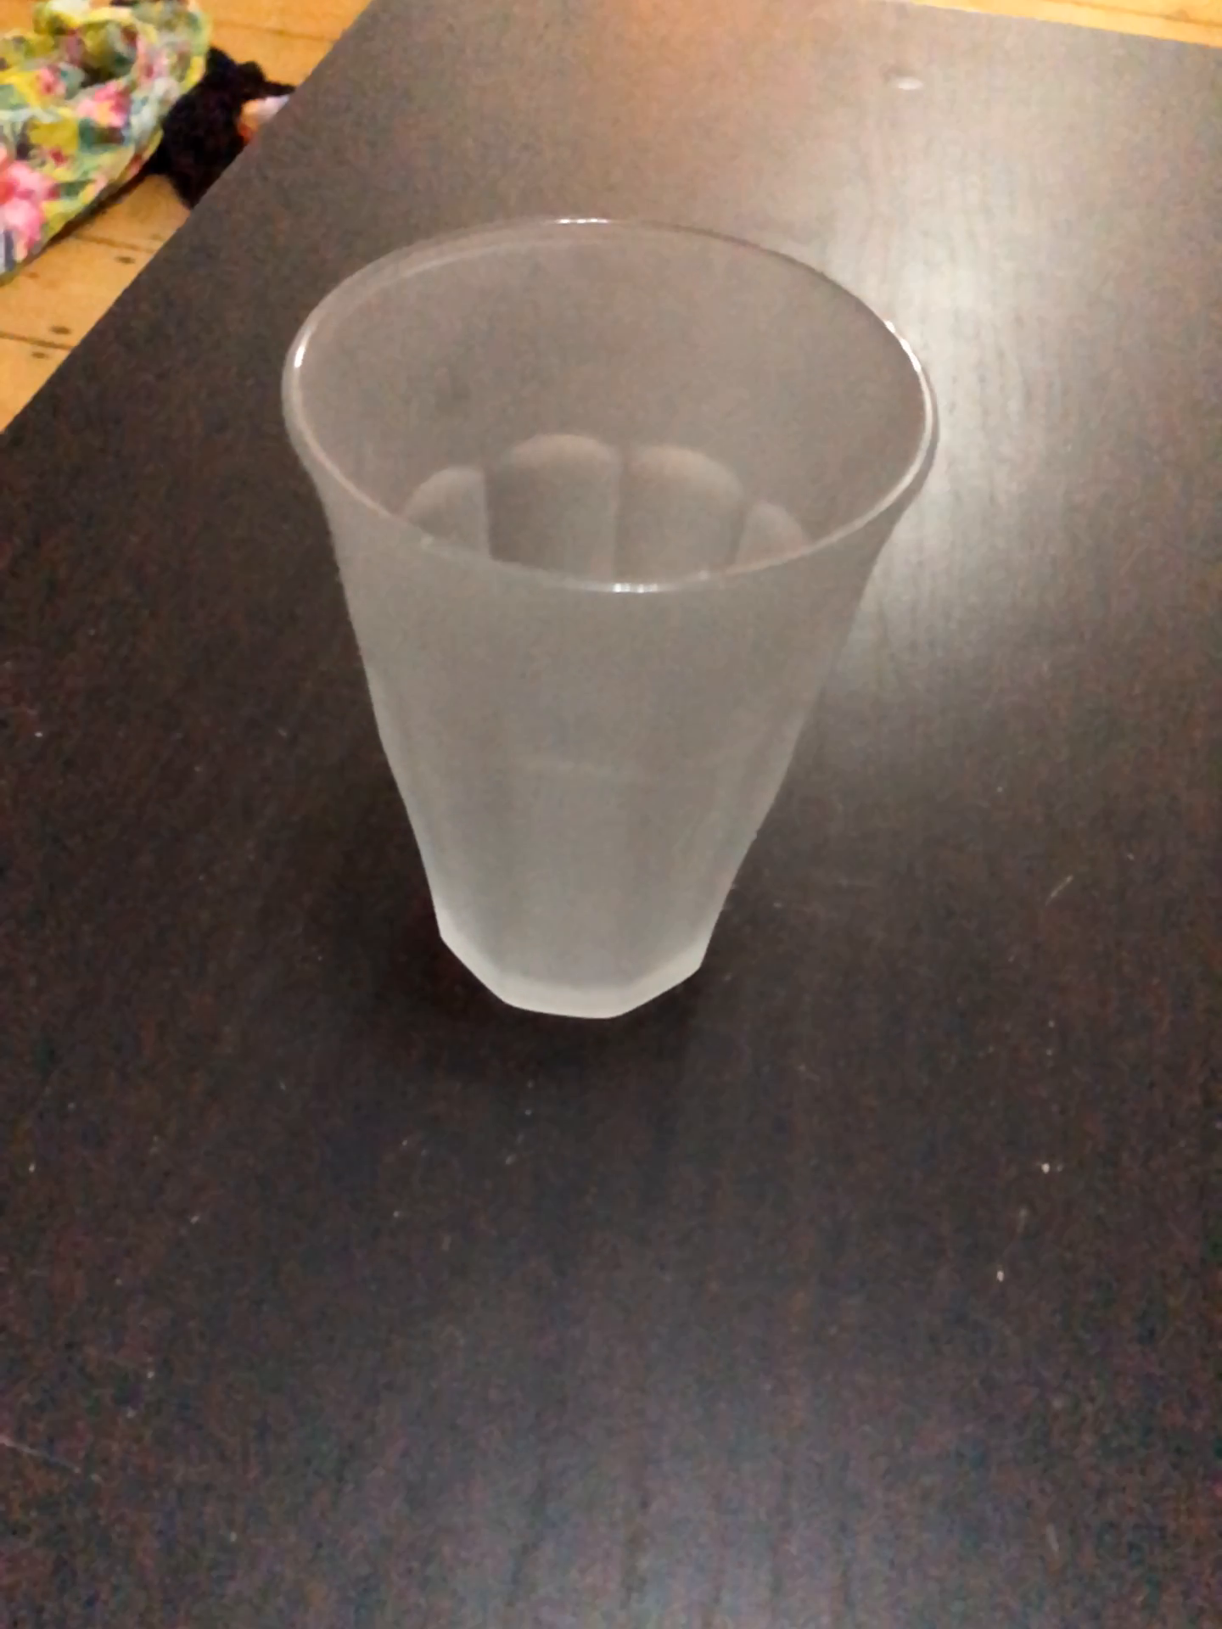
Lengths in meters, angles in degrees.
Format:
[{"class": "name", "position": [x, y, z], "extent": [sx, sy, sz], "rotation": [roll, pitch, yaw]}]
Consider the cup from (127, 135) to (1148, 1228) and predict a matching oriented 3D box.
[{"class": "cup", "position": [-0.002, -0.019, 0.224], "extent": [0.100, 0.129, 0.090], "rotation": [-23, 56, -22]}]
